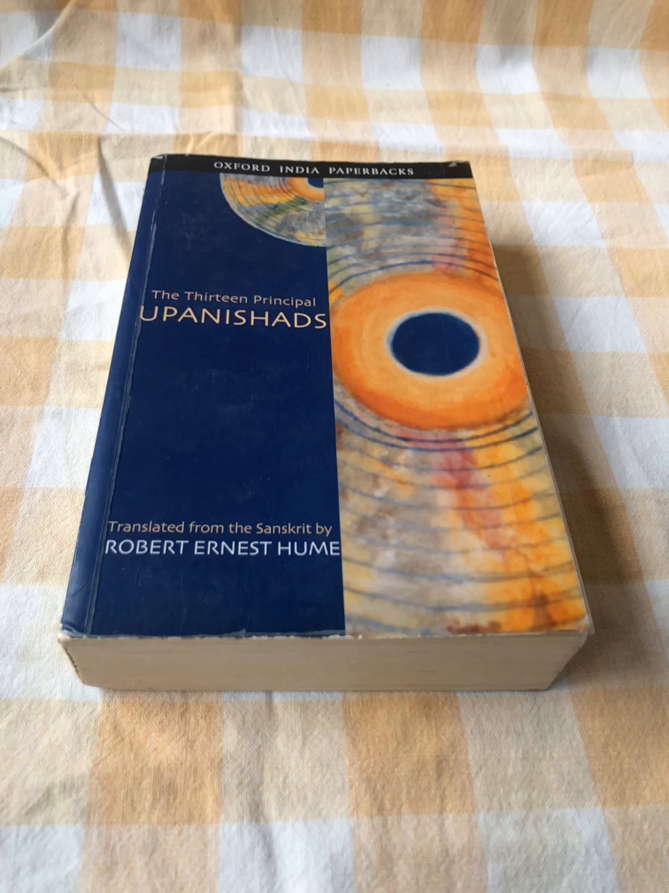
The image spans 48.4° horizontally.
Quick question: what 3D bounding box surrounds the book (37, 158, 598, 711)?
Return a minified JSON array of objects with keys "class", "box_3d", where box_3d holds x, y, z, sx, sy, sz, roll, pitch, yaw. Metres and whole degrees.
[{"class":"book","box_3d":[-0.008,-0.021,0.264,0.140,0.040,0.211,1,53,-5]}]
